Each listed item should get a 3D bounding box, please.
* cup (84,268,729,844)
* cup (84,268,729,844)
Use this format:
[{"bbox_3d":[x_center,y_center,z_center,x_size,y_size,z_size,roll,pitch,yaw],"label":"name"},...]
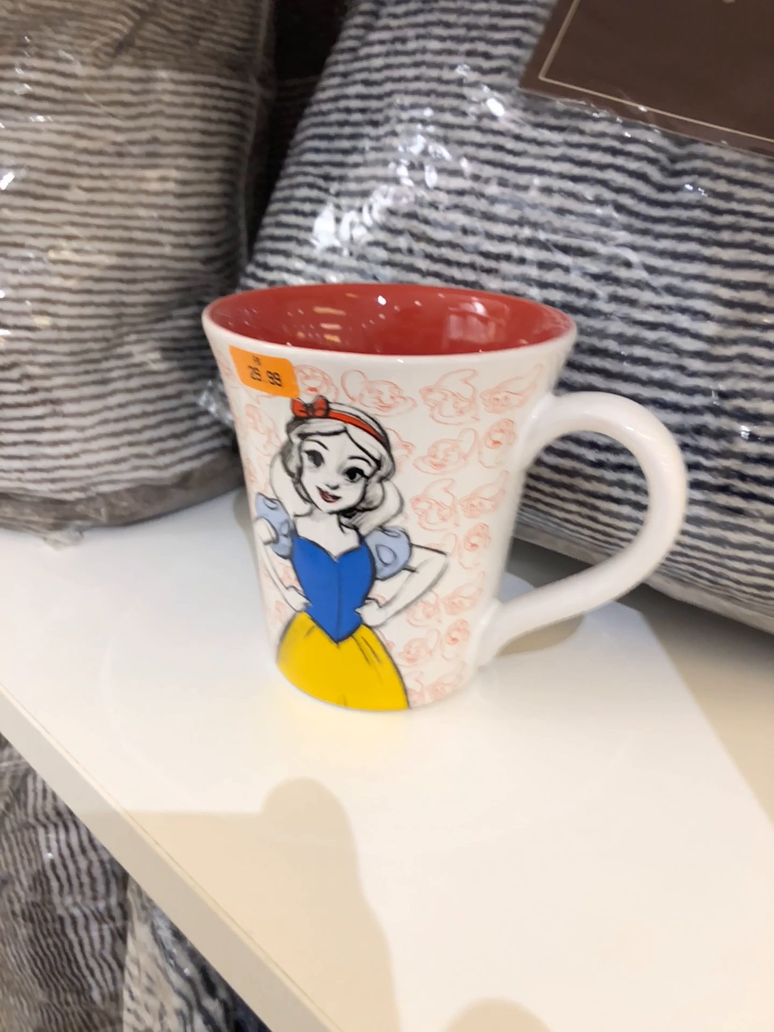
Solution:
[{"bbox_3d":[0.007,-0.005,0.217,0.120,0.089,0.091,14,27,26],"label":"cup"},{"bbox_3d":[0.007,-0.005,0.217,0.120,0.089,0.091,14,27,26],"label":"cup"}]
